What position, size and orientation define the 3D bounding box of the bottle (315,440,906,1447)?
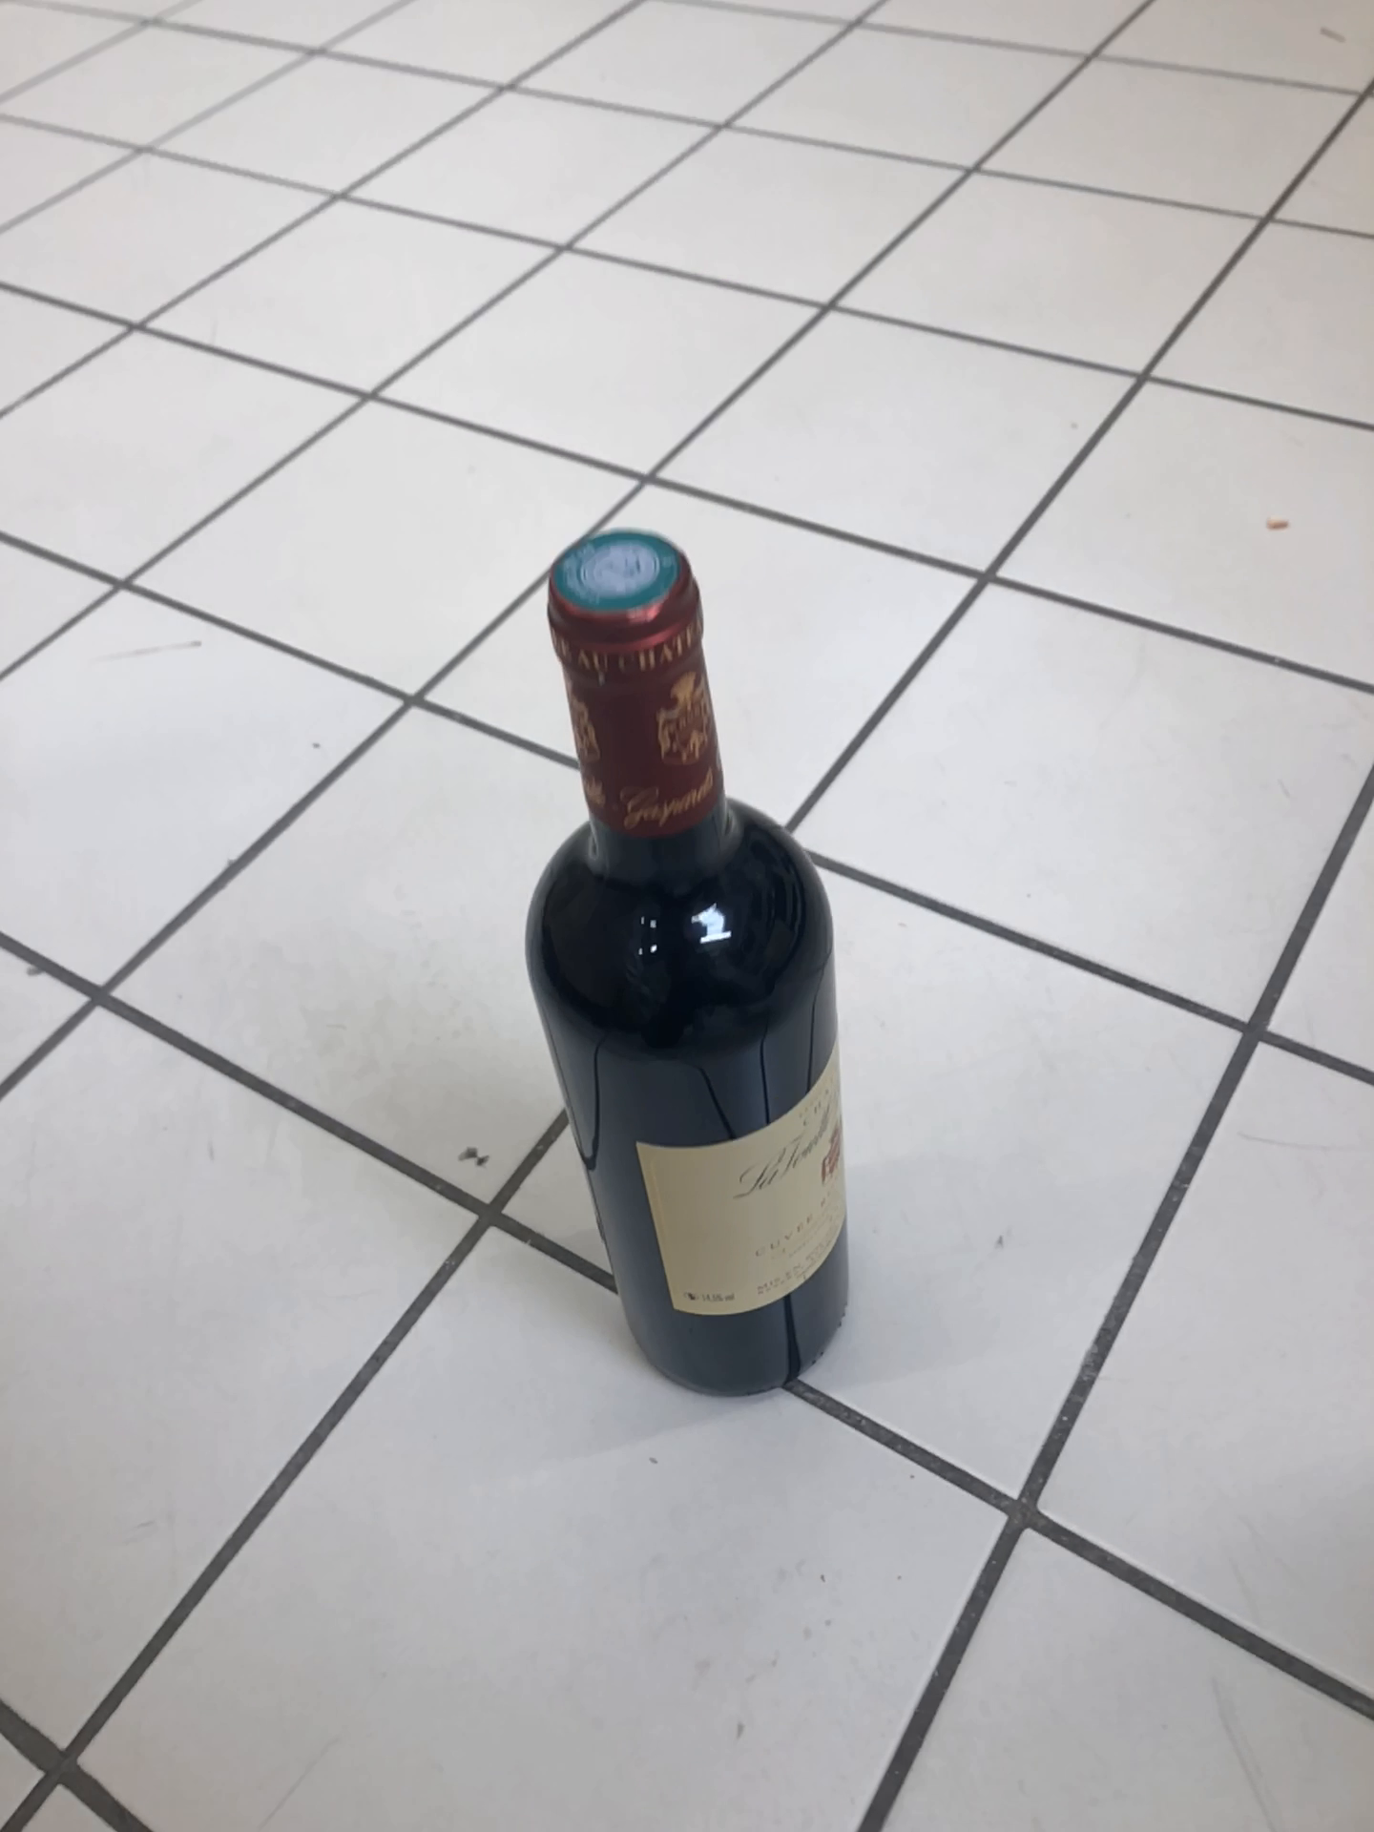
[{"bbox_3d":[0.001,0.031,0.392,0.090,0.288,0.081,10,51,15],"label":"bottle"}]
